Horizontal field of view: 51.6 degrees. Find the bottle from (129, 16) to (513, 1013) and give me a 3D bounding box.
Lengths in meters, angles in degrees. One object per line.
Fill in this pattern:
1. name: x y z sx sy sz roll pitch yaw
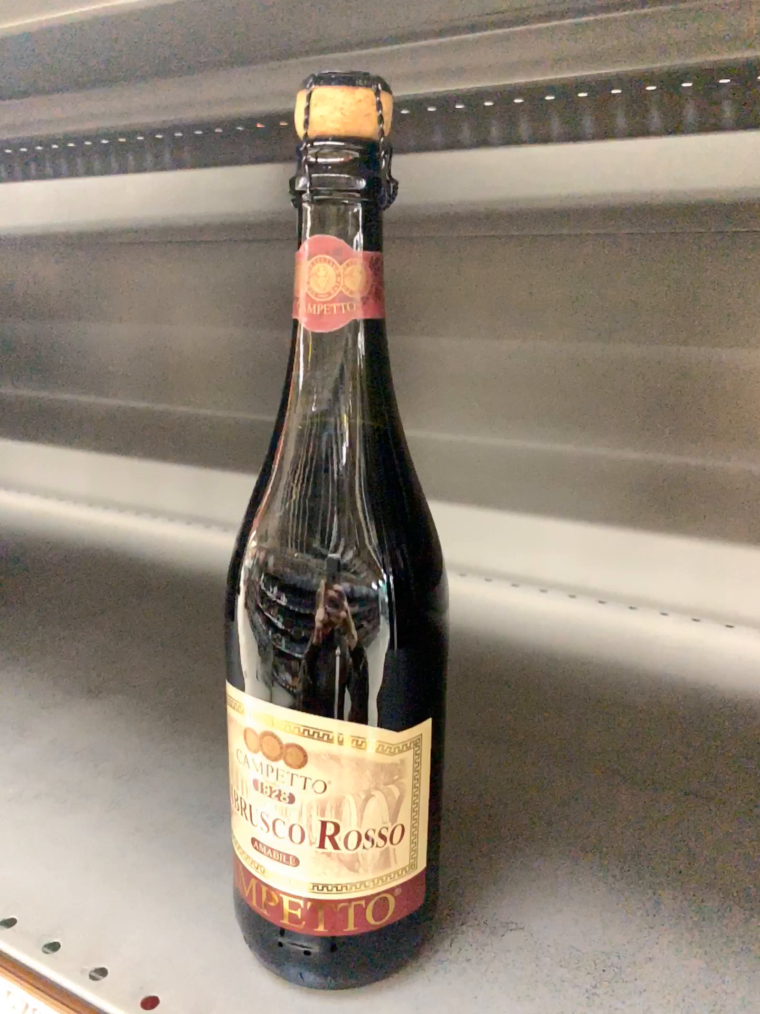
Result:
1. bottle: -0.018 0.013 0.278 0.090 0.299 0.080 8 15 25
